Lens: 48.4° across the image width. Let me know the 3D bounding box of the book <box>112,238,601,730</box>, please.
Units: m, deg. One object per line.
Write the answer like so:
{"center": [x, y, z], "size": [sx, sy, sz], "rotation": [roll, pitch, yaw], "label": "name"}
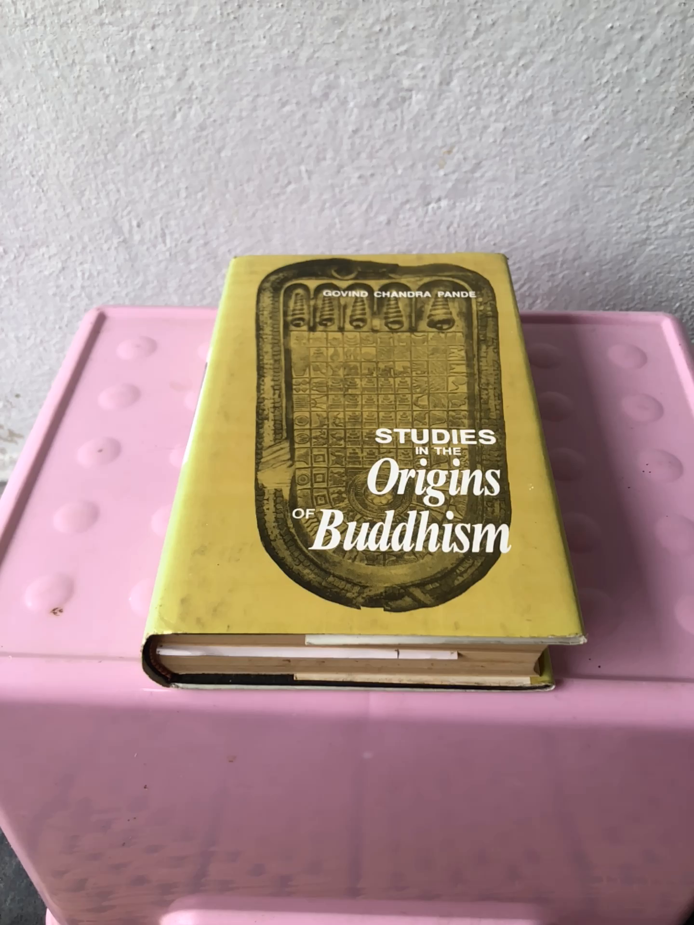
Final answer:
{"center": [0.006, -0.012, 0.333], "size": [0.150, 0.040, 0.241], "rotation": [1, 48, 1], "label": "book"}
